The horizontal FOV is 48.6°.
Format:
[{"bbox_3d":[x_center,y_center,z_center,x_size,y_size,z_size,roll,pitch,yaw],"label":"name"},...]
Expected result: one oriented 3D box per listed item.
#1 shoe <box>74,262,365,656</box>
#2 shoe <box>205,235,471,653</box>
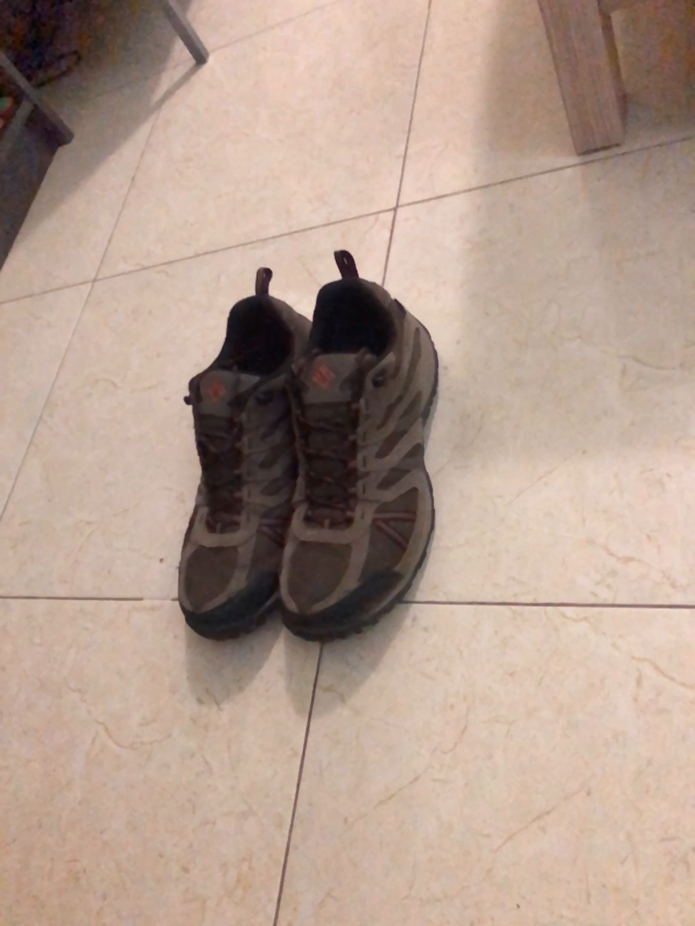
[{"bbox_3d":[-0.096,-0.008,0.666,0.130,0.110,0.310,-1,61,29],"label":"shoe"},{"bbox_3d":[0.007,-0.019,0.633,0.120,0.119,0.310,-3,61,28],"label":"shoe"}]
